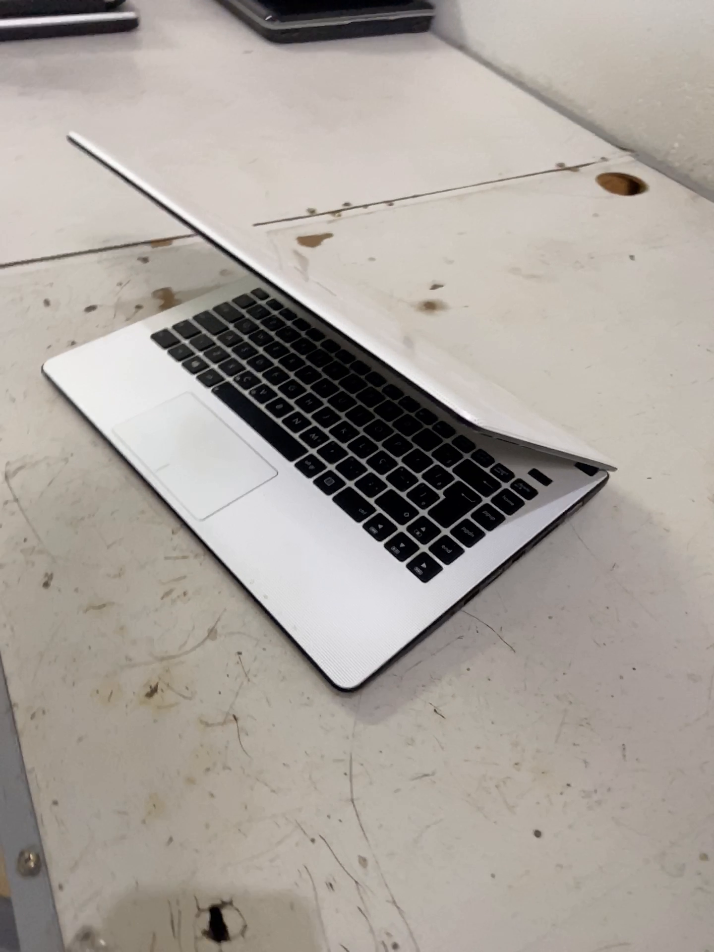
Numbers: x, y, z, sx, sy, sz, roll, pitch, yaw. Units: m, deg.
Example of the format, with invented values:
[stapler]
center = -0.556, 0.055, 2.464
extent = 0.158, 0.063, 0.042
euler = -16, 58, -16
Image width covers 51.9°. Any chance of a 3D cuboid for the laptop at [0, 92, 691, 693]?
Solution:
[laptop]
center = -0.031, -0.089, 0.468
extent = 0.237, 0.141, 0.344
euler = -33, 56, -28
